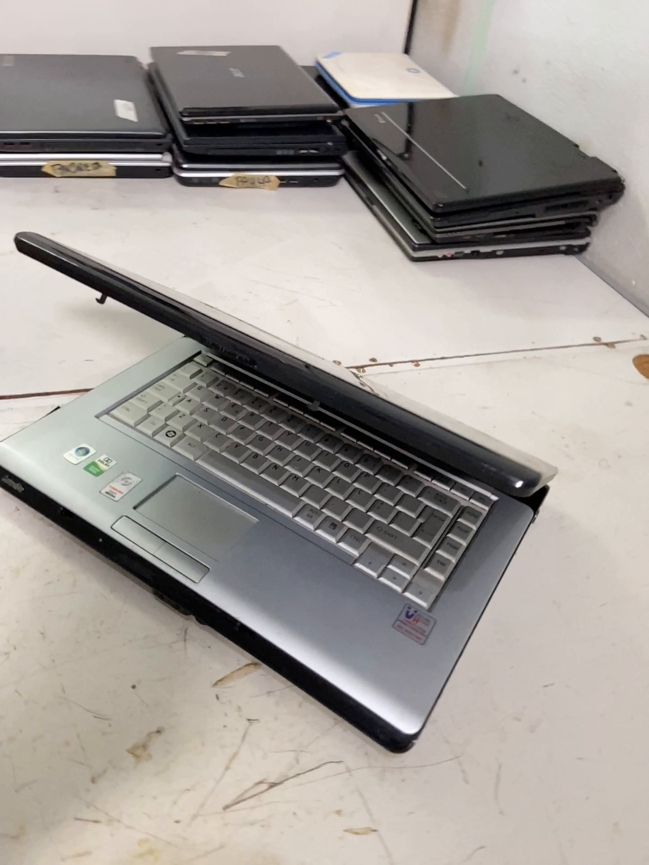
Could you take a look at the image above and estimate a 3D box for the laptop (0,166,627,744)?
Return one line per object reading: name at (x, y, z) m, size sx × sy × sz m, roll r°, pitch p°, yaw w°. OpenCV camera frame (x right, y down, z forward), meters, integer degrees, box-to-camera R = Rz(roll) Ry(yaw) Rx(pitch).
laptop at (-0.027, -0.027, 0.454) m, size 0.346 × 0.152 × 0.259 m, roll 27°, pitch 43°, yaw 20°
